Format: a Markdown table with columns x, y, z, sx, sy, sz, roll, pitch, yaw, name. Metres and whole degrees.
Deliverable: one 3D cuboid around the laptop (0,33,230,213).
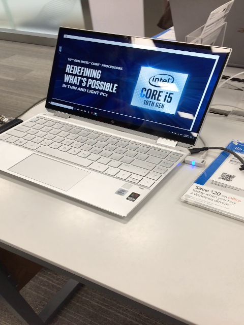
| x | y | z | sx | sy | sz | roll | pitch | yaw | name |
| --- | --- | --- | --- | --- | --- | --- | --- | --- | --- |
| -0.056 | -0.088 | 0.521 | 0.314 | 0.150 | 0.263 | 22 | 47 | 26 | laptop |
